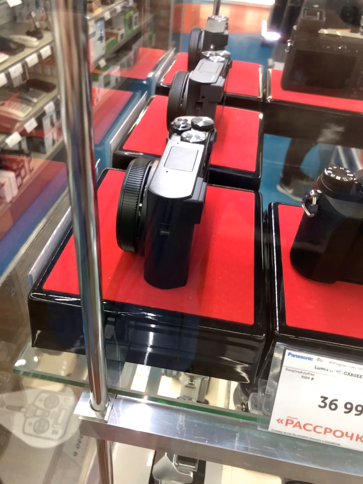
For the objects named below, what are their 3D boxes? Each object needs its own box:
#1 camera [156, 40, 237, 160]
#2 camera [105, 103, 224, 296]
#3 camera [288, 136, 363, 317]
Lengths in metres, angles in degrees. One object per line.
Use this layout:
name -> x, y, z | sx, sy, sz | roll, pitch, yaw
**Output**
camera -> 0.017, -0.148, 0.410 | 0.055, 0.076, 0.114 | 11, 39, 6
camera -> -0.007, -0.033, 0.263 | 0.052, 0.070, 0.110 | 9, 39, 4
camera -> 0.125, -0.009, 0.241 | 0.102, 0.076, 0.054 | 9, 39, 4
